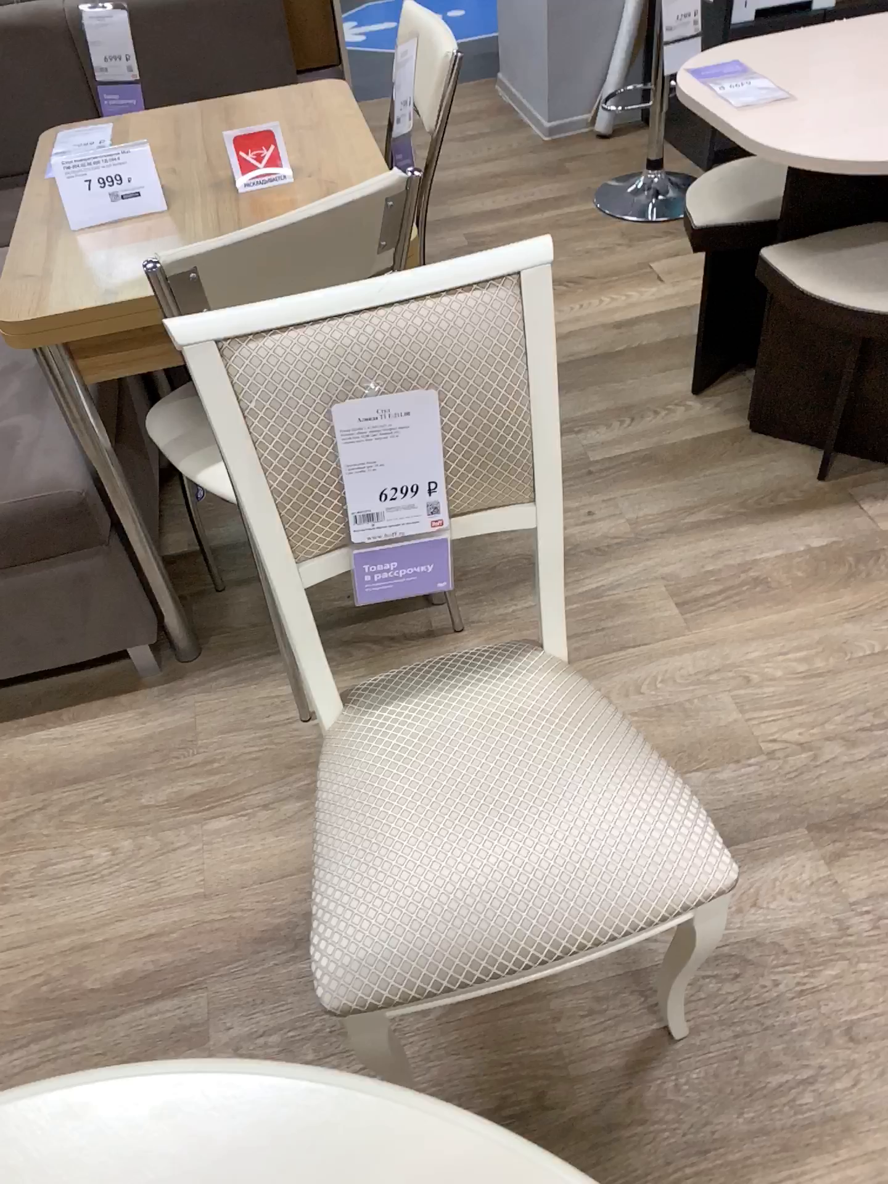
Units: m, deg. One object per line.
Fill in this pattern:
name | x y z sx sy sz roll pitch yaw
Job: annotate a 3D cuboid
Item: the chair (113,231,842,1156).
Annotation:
chair | 0.013 0.179 1.063 0.460 0.925 0.512 -15 45 -7
